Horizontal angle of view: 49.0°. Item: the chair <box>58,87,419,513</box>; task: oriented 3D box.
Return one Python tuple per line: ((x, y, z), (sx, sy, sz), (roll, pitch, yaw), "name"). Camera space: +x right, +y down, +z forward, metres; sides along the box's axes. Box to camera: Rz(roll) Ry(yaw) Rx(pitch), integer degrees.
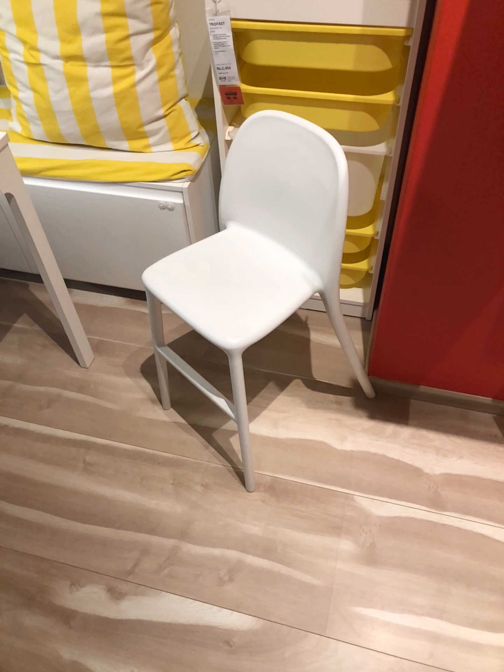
((0.000, -0.051, 1.220), (0.461, 0.706, 0.422), (-39, 57, -23), "chair")
